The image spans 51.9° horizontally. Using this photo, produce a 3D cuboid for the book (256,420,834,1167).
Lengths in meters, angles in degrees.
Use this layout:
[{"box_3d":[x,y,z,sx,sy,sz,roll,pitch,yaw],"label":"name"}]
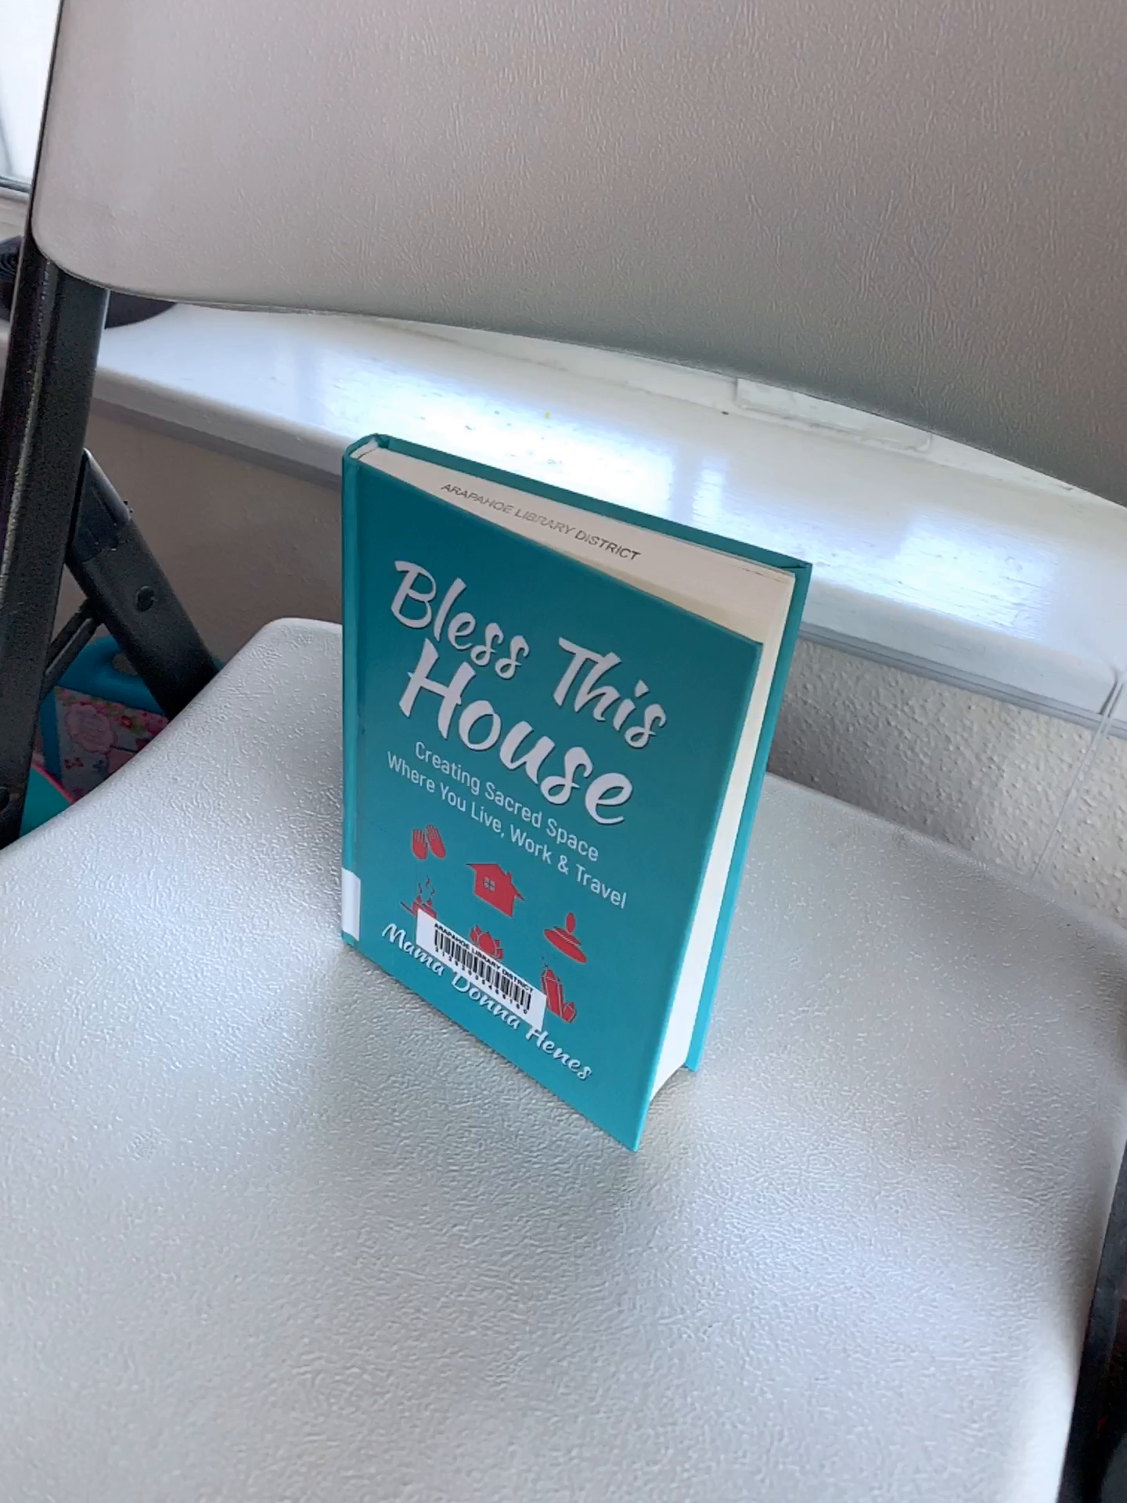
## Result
[{"box_3d":[-0.016,0.014,0.344,0.142,0.181,0.051,23,37,22],"label":"book"}]
